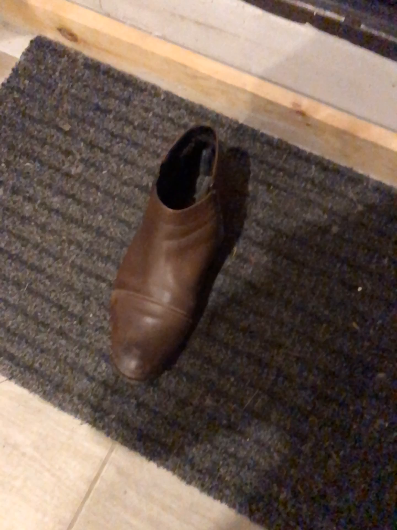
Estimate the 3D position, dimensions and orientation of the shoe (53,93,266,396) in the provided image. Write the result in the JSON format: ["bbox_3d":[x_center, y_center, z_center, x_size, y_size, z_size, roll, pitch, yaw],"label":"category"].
[{"bbox_3d":[-0.029,-0.019,0.500,0.110,0.130,0.301,19,76,8],"label":"shoe"}]
